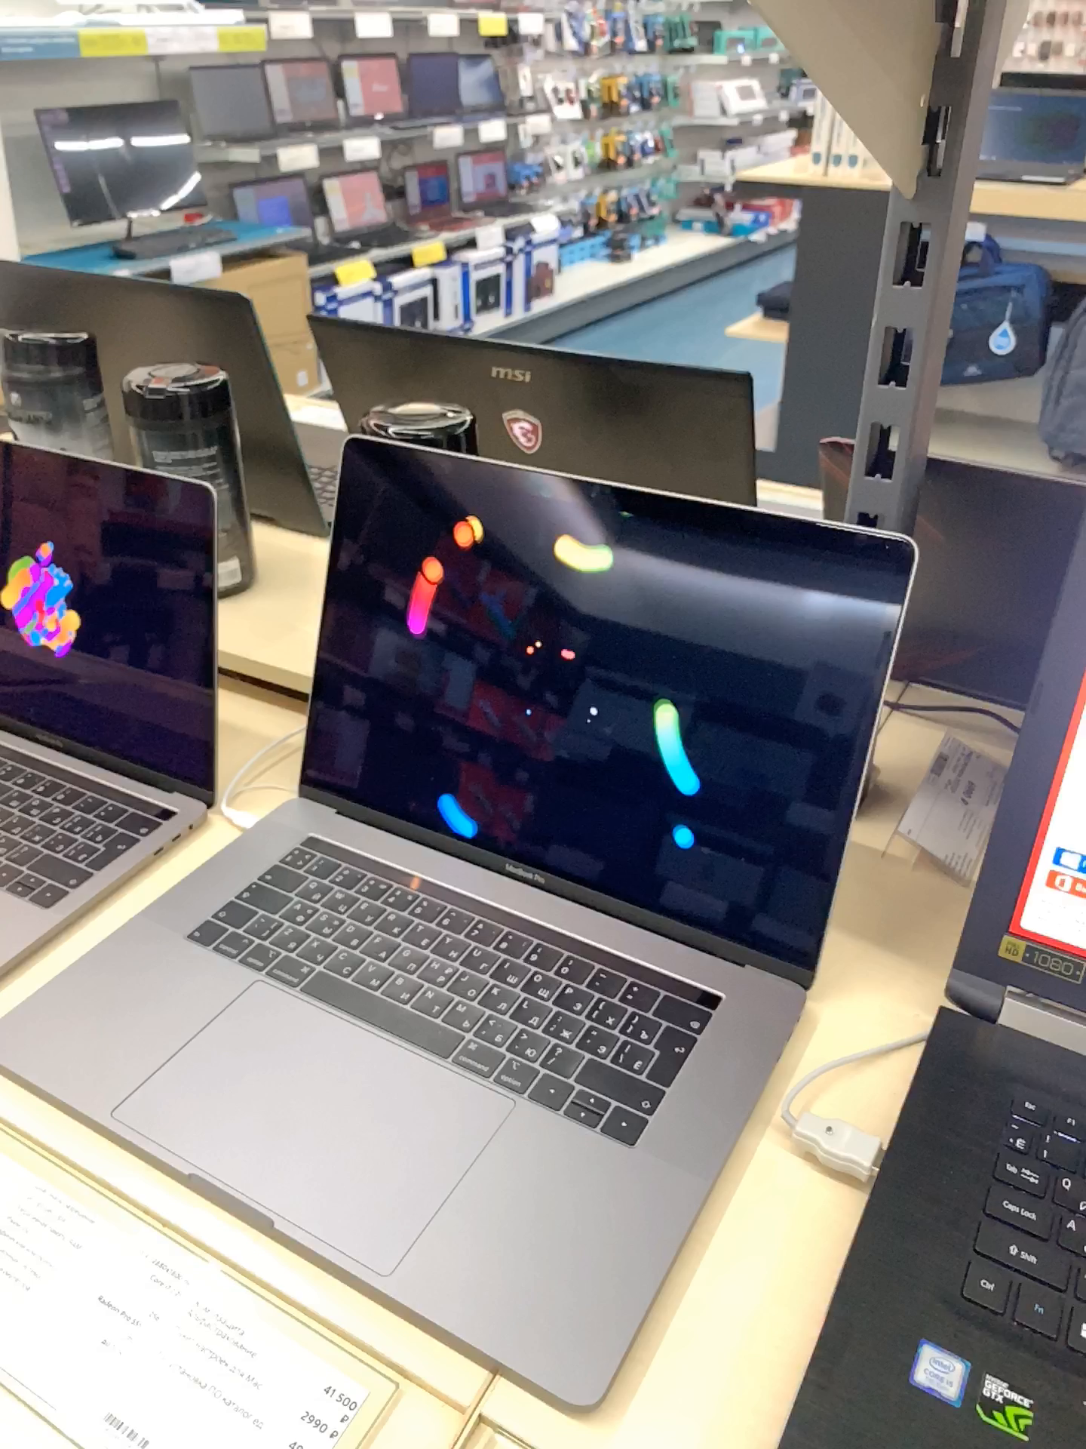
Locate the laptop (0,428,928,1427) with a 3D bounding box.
[{"bbox_3d":[-0.051,0.034,0.531,0.345,0.210,0.326,17,36,26],"label":"laptop"}]
